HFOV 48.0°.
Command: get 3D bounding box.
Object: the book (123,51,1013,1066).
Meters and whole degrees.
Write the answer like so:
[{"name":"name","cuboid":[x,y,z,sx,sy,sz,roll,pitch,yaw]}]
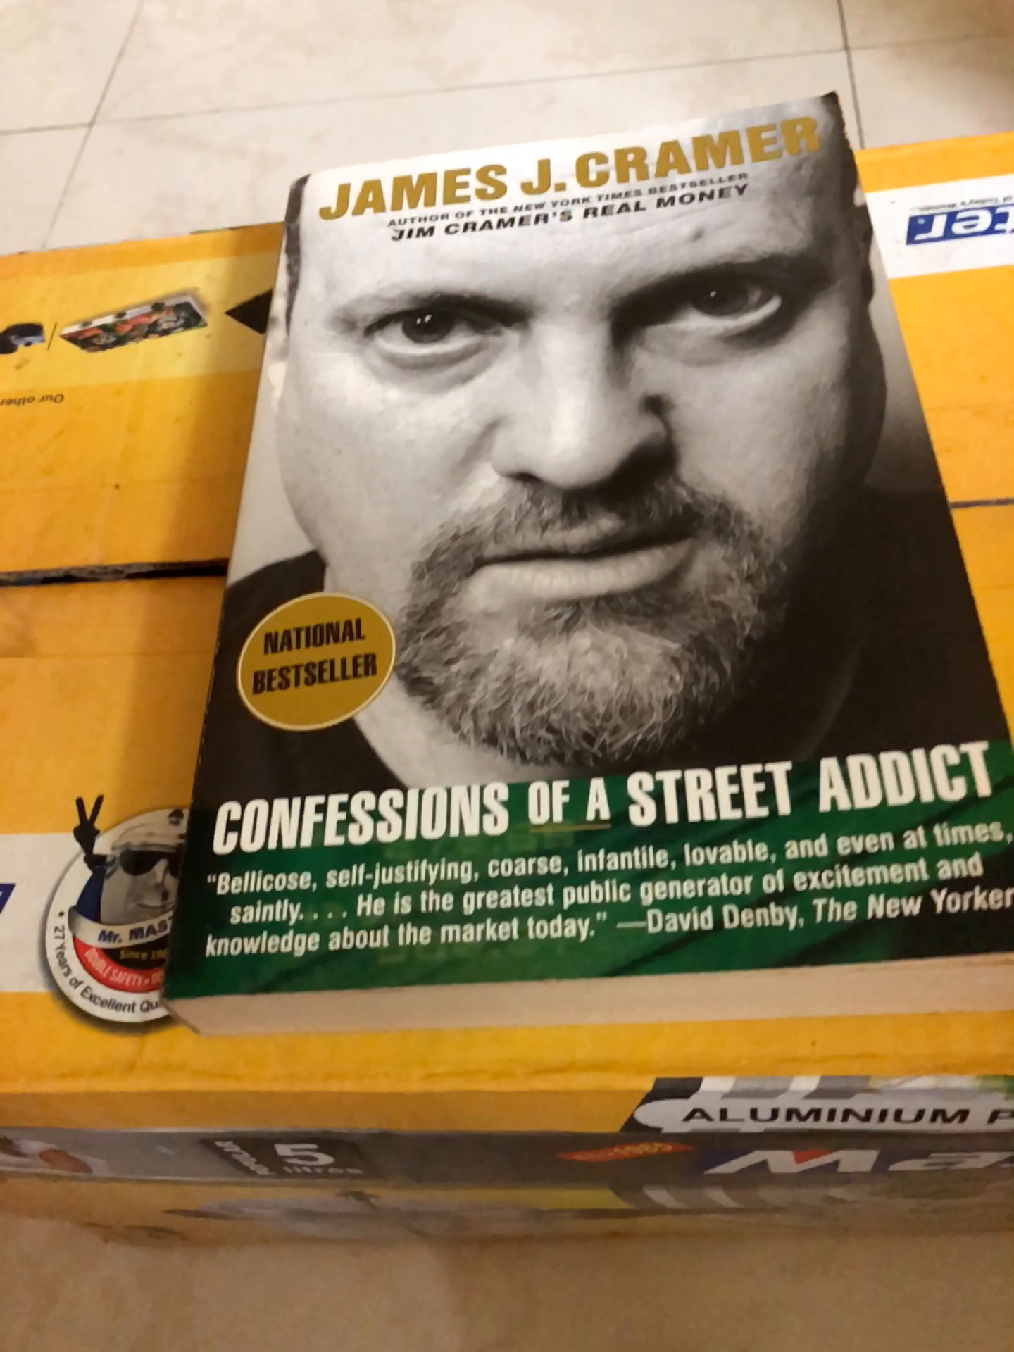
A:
[{"name":"book","cuboid":[0.014,-0.044,0.237,0.140,0.030,0.231,-5,56,7]}]
